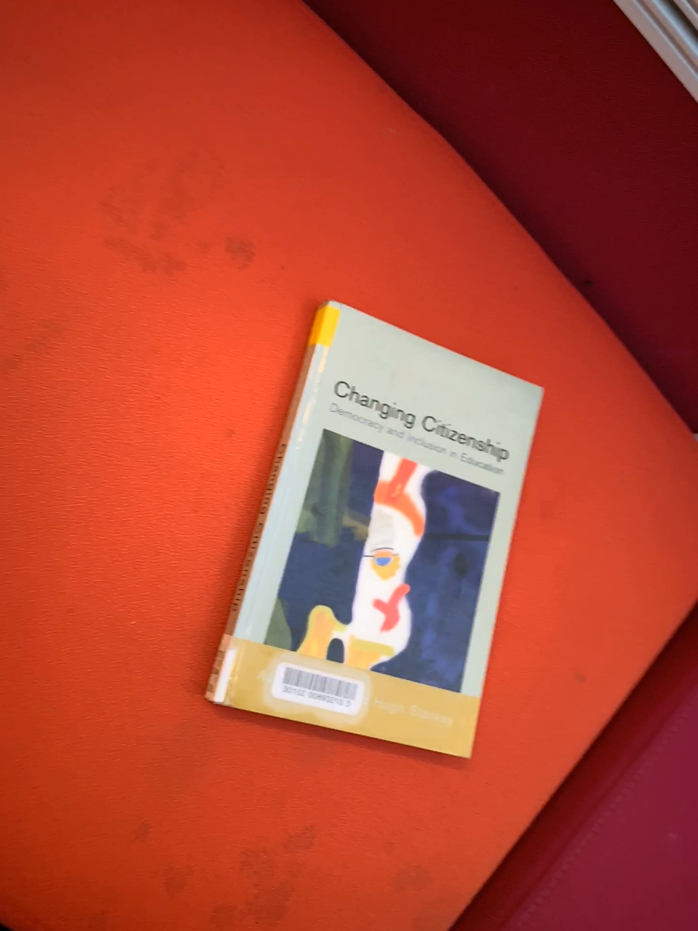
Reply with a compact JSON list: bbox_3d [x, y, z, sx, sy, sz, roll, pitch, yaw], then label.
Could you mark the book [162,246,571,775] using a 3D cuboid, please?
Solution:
[{"bbox_3d":[0.022,0.027,0.415,0.180,0.040,0.251,20,76,-19],"label":"book"}]
